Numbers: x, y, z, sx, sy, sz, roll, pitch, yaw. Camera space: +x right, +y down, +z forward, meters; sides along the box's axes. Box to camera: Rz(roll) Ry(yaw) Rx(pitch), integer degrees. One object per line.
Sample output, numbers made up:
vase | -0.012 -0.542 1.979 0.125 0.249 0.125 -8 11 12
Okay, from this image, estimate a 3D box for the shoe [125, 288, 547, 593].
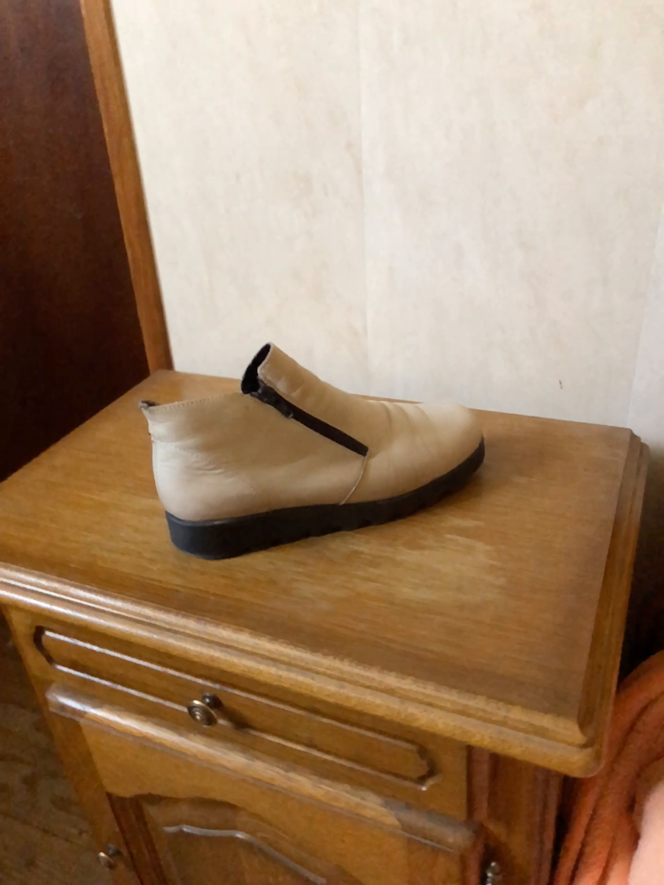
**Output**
shoe | 0.007 -0.012 0.529 0.271 0.129 0.100 -15 31 -18
